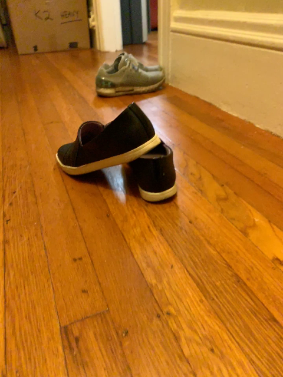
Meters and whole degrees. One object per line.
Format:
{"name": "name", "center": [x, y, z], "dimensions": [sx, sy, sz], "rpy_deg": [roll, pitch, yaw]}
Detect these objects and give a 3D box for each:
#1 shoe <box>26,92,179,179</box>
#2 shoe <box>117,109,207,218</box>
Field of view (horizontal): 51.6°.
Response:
{"name": "shoe", "center": [-0.076, -0.082, 0.503], "dimensions": [0.250, 0.080, 0.100], "rpy_deg": [-3, 24, 41]}
{"name": "shoe", "center": [0.021, -0.063, 0.538], "dimensions": [0.100, 0.080, 0.262], "rpy_deg": [-7, 33, -8]}
